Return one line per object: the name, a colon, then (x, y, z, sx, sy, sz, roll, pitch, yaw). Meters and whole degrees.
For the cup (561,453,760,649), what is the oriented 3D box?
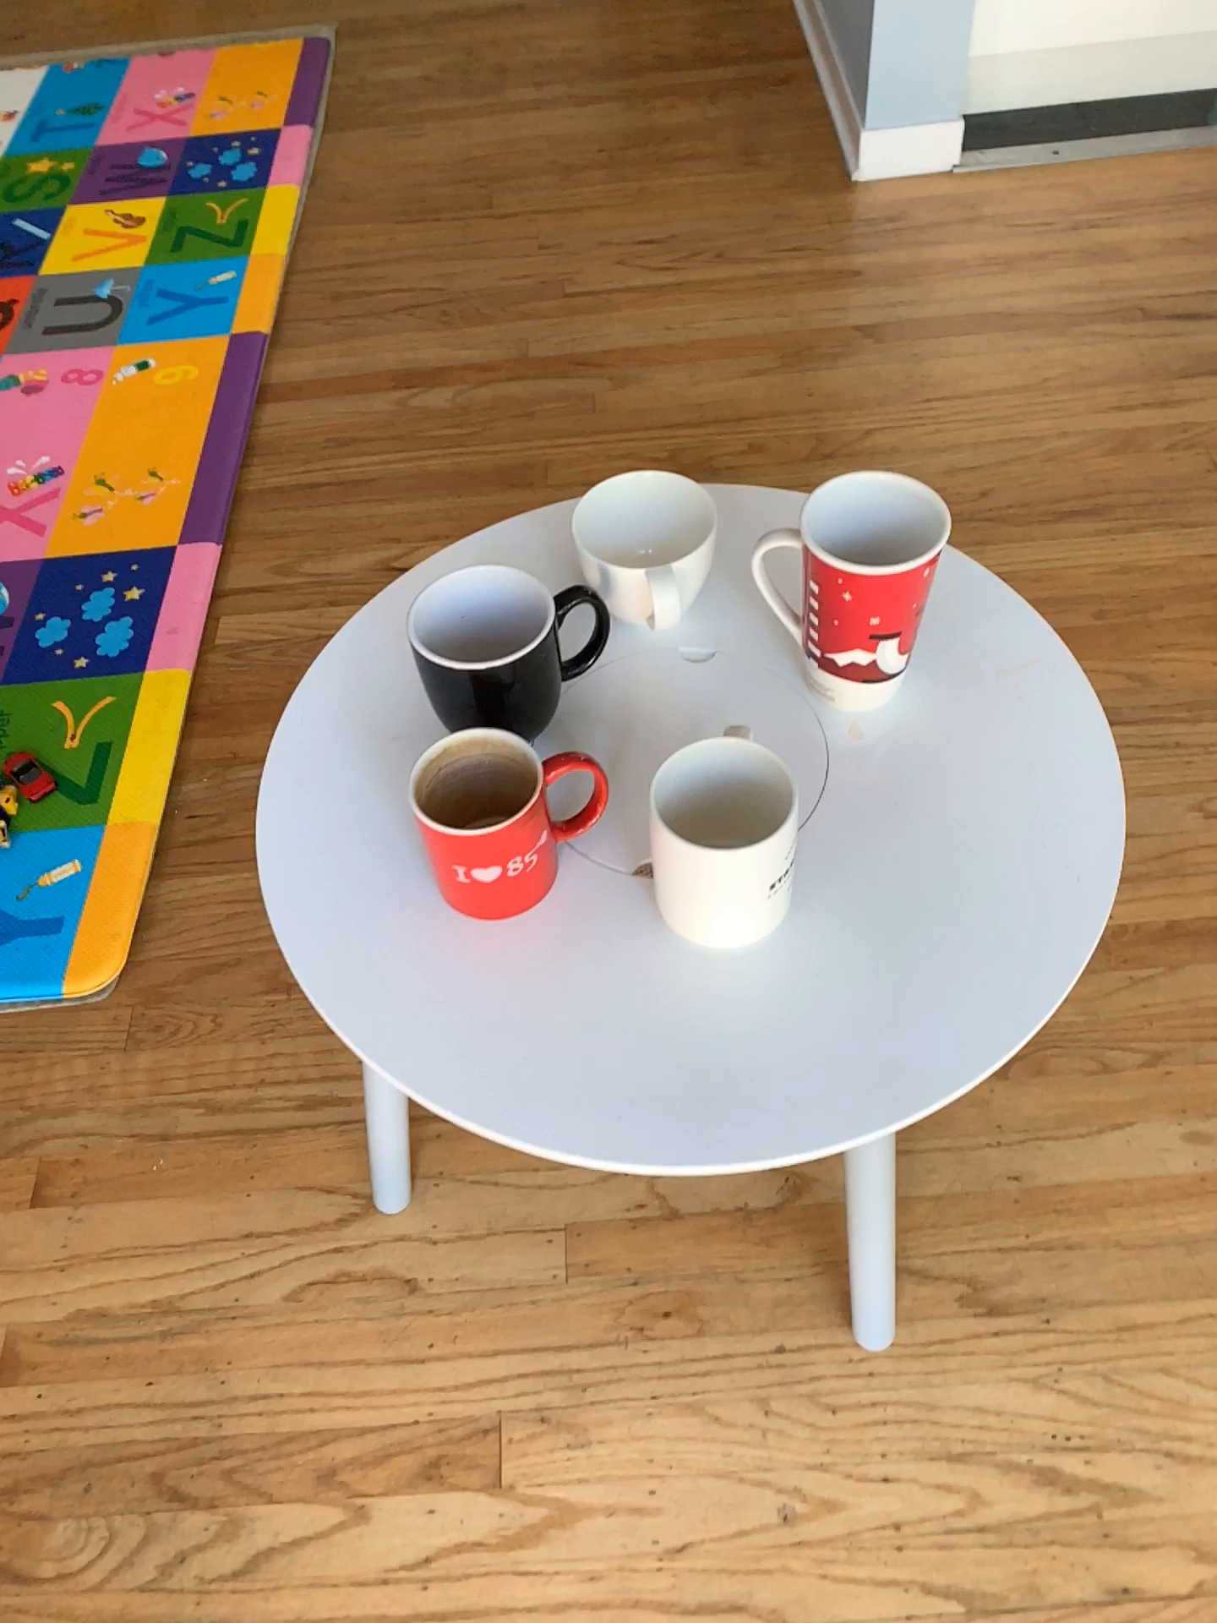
cup: (0.033, -0.175, 0.828, 0.100, 0.040, 0.120, -14, 54, -6)

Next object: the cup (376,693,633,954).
cup: (-0.059, 0.007, 0.733, 0.120, 0.090, 0.080, -21, 55, -10)

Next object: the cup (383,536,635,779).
cup: (-0.062, -0.100, 0.802, 0.130, 0.080, 0.090, -21, 55, -10)

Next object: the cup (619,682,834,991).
cup: (0.070, 0.014, 0.720, 0.090, 0.100, 0.130, 11, 55, 12)

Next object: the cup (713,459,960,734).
cup: (0.146, -0.140, 0.816, 0.130, 0.120, 0.100, 14, 56, 14)
